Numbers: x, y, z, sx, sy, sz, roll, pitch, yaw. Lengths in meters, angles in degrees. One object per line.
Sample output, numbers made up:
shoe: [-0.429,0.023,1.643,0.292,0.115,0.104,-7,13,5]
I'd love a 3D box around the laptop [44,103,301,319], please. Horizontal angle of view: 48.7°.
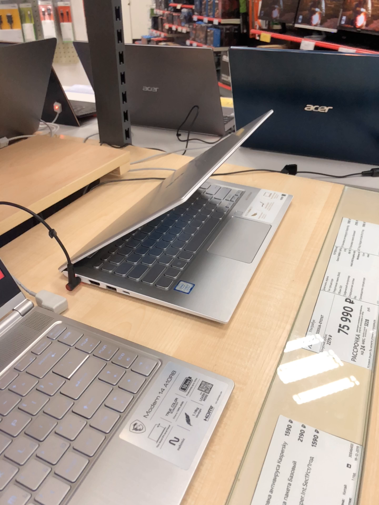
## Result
laptop: [0.006,-0.085,0.537,0.197,0.119,0.310,14,35,19]
